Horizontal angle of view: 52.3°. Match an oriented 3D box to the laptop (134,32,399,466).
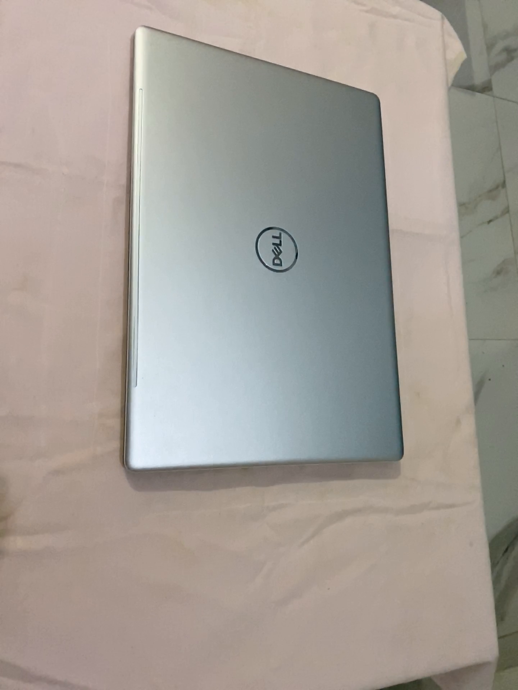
[{"bbox_3d":[0.012,-0.081,0.464,0.236,0.004,0.359,3,79,-23],"label":"laptop"}]
